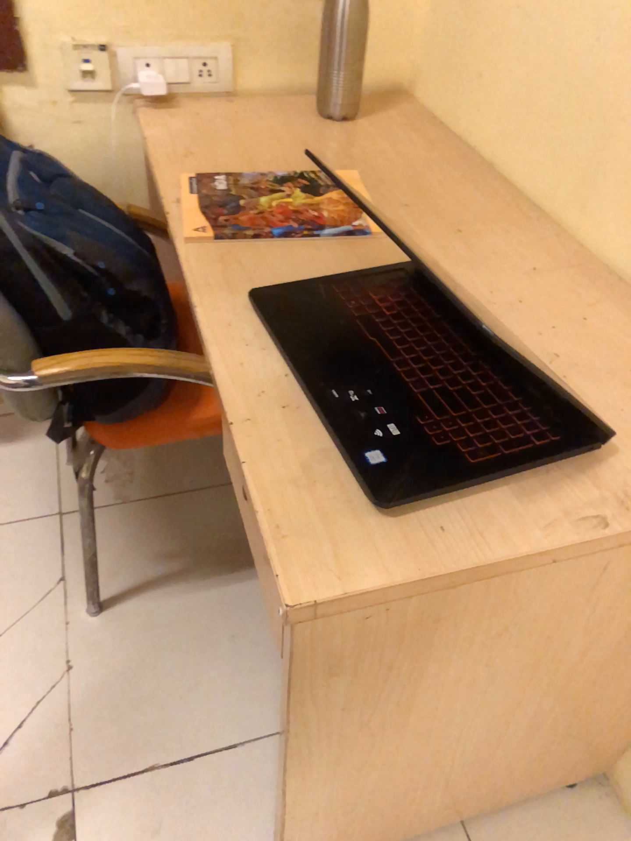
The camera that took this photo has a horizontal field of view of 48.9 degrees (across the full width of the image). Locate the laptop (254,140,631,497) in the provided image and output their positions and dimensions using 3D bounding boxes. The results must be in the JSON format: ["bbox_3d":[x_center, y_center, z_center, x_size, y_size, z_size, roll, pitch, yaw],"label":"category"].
[{"bbox_3d":[0.111,-0.136,0.736,0.252,0.173,0.371,-12,44,-19],"label":"laptop"}]
